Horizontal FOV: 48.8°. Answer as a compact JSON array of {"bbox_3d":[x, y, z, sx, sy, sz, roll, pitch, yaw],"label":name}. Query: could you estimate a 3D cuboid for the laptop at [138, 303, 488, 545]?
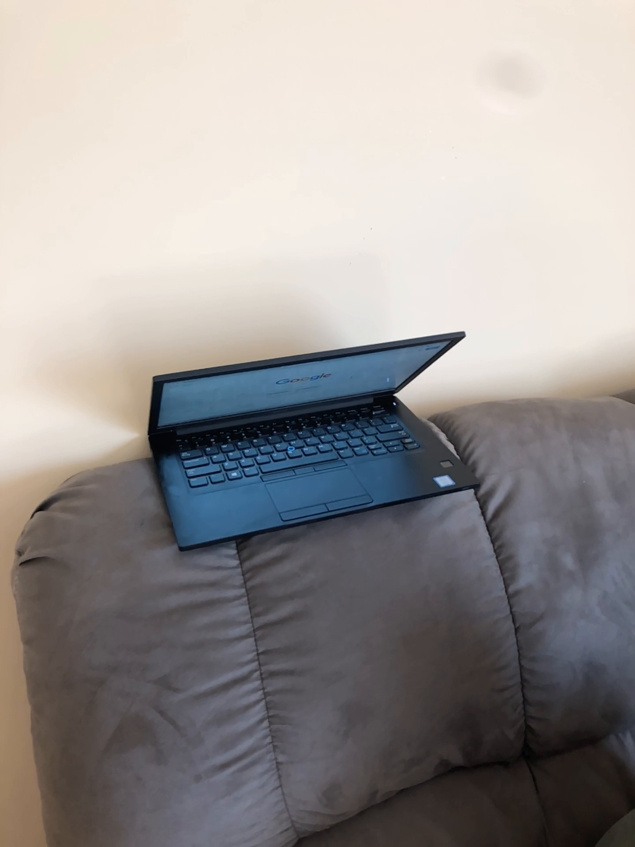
[{"bbox_3d":[-0.014,-0.019,0.770,0.321,0.128,0.214,-9,29,-17],"label":"laptop"}]
